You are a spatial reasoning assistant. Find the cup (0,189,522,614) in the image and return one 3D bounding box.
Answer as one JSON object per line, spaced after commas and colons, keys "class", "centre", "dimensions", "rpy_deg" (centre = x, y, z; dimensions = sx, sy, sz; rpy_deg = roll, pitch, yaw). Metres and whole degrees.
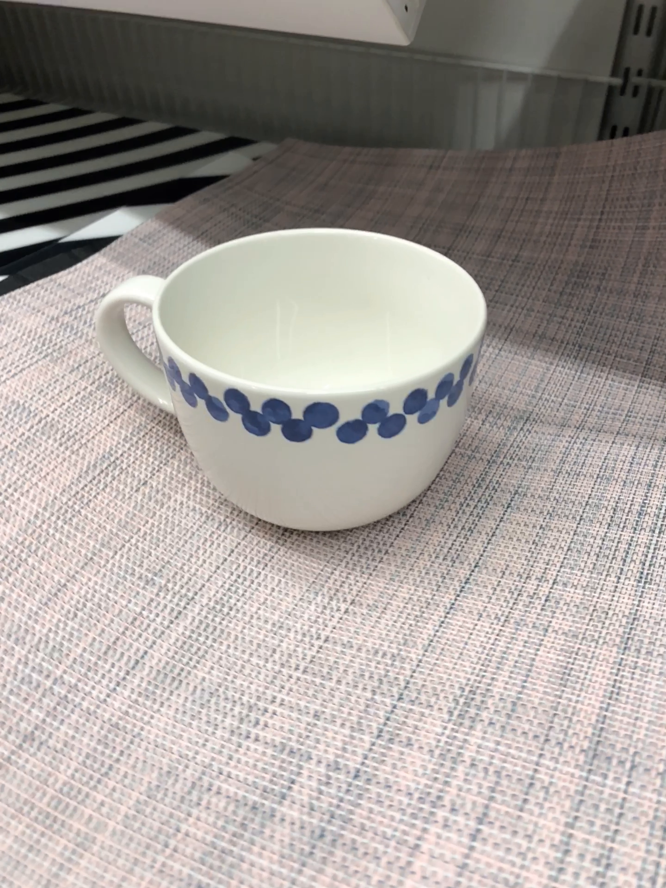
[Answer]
{"class": "cup", "centre": [-0.028, -0.027, 0.247], "dimensions": [0.150, 0.060, 0.110], "rpy_deg": [14, 41, 17]}
